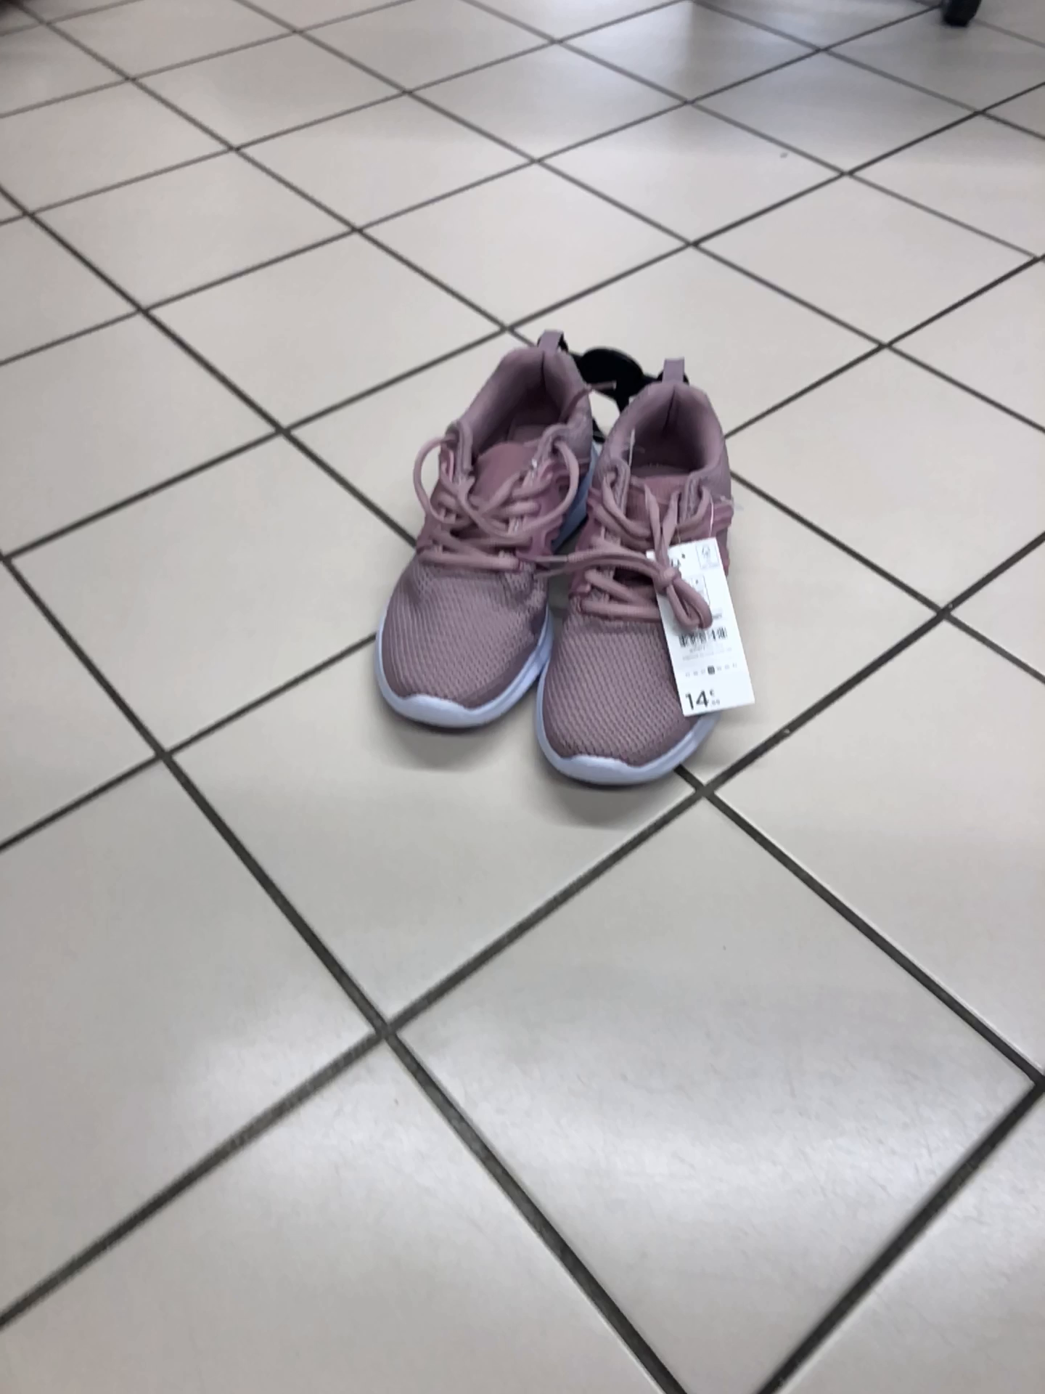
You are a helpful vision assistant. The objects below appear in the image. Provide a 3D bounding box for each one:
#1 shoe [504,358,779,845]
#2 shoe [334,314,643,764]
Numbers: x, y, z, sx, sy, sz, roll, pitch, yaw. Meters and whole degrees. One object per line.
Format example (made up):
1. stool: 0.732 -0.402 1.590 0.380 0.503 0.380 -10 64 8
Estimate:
1. shoe: 0.070 -0.063 0.628 0.102 0.099 0.262 10 49 8
2. shoe: -0.008 -0.100 0.651 0.100 0.092 0.262 11 50 9
